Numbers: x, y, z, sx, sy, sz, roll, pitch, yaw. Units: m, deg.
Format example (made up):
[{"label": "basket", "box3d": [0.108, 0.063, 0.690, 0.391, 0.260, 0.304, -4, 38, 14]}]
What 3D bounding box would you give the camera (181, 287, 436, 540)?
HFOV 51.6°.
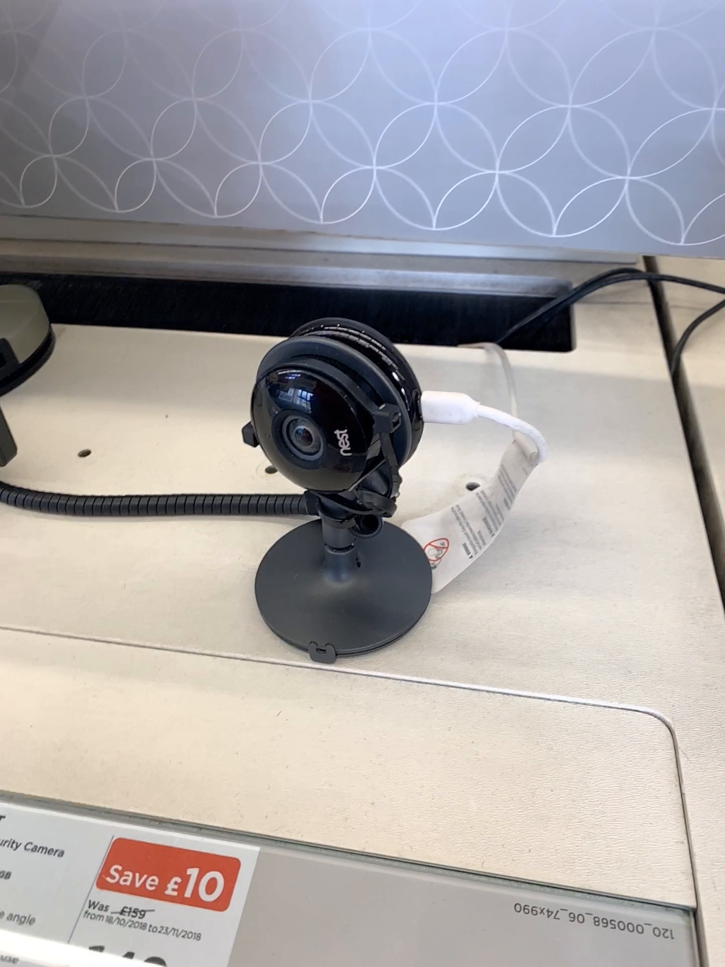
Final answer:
[{"label": "camera", "box3d": [-0.015, -0.025, 0.244, 0.060, 0.050, 0.050, 18, 44, 23]}]
